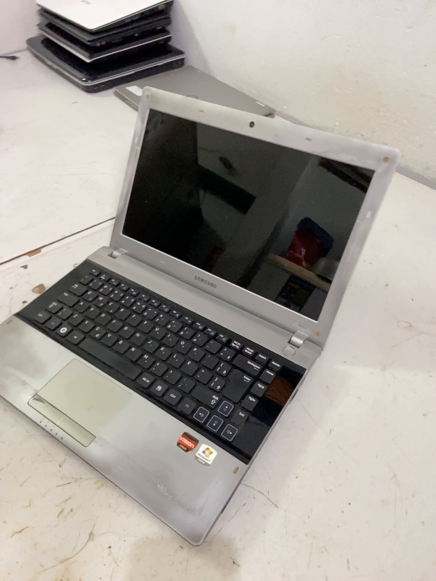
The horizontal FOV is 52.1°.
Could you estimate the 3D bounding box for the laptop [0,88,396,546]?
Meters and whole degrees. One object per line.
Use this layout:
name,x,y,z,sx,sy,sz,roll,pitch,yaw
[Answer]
laptop,-0.060,-0.030,0.481,0.342,0.181,0.368,25,52,25
